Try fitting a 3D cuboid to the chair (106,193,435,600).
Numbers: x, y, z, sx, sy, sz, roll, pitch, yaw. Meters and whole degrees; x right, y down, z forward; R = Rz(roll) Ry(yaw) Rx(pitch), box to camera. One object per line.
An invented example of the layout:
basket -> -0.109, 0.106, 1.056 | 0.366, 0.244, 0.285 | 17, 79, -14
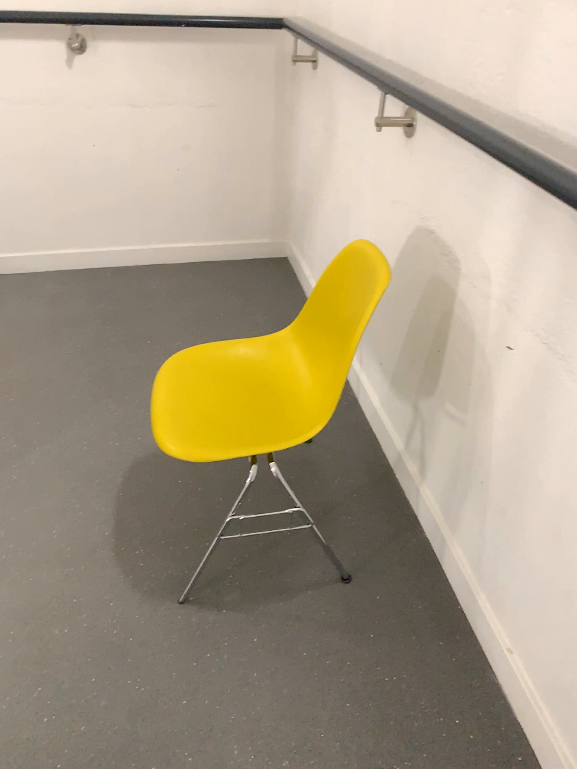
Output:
chair -> -0.087, 0.004, 1.450 | 0.560, 0.732, 0.626 | -4, 37, -9
